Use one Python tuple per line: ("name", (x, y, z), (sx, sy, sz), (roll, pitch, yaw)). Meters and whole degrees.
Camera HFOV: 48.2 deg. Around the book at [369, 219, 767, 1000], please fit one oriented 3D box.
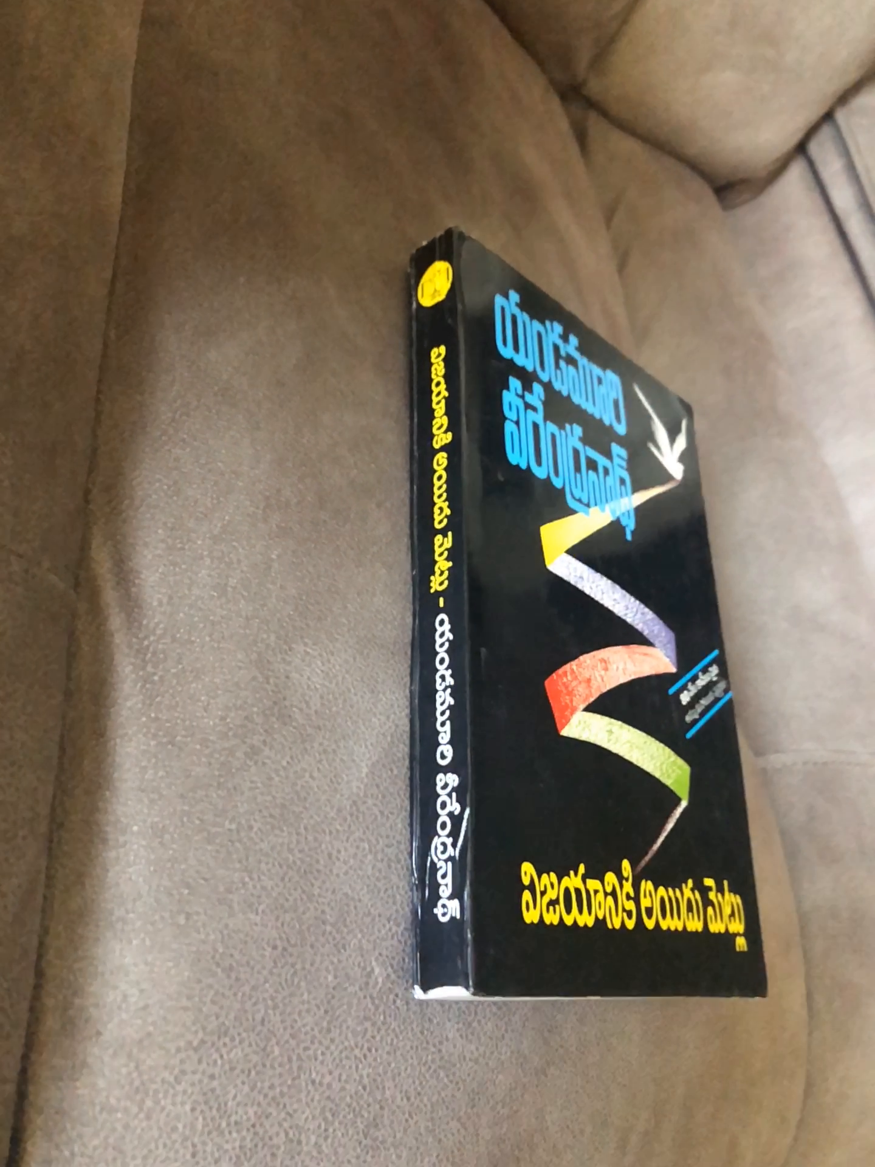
("book", (0.044, 0.014, 0.303), (0.145, 0.026, 0.212), (23, 58, -42))
